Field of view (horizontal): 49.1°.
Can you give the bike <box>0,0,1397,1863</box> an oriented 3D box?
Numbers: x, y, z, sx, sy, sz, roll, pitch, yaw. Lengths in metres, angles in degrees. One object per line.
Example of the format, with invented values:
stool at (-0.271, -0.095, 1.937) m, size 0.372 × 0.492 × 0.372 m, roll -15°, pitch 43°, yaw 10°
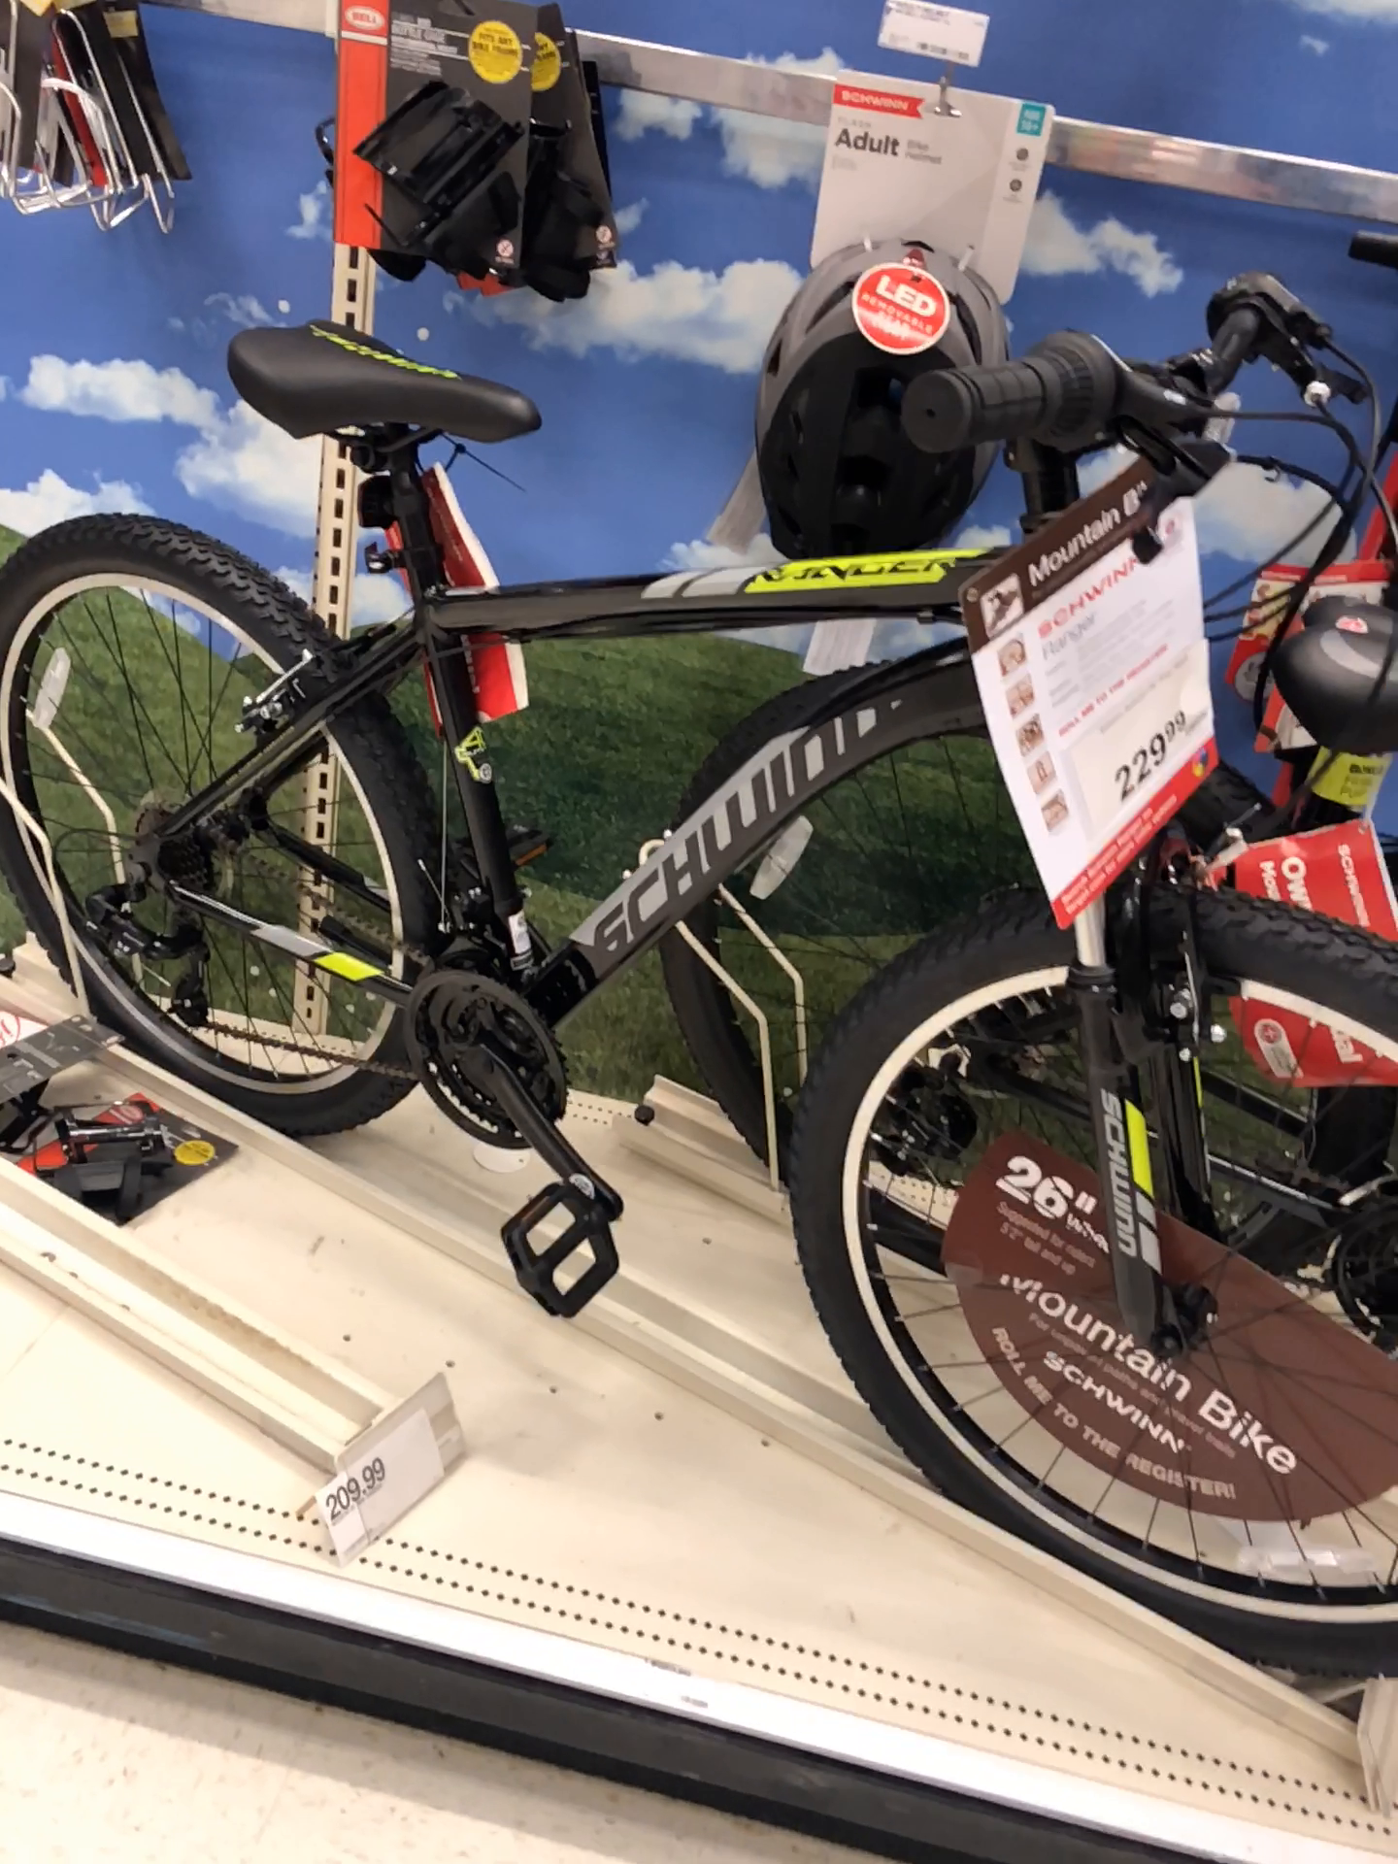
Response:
bike at (-0.092, 0.016, 1.170) m, size 1.653 × 1.002 × 0.601 m, roll 25°, pitch 28°, yaw 24°
